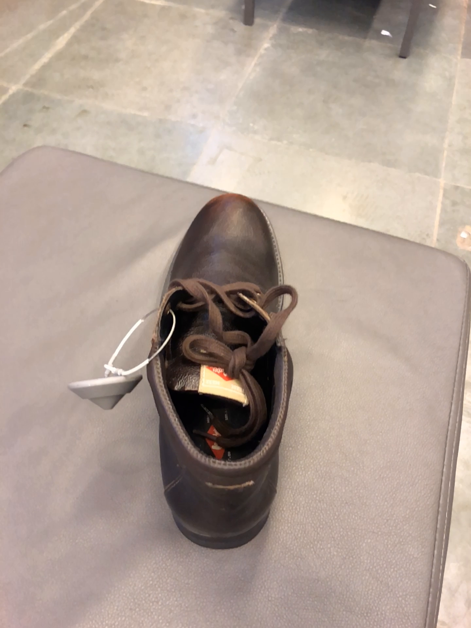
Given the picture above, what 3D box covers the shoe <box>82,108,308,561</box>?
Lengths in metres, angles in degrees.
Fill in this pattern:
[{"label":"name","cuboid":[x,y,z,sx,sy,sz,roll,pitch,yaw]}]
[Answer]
[{"label":"shoe","cuboid":[-0.016,0.011,0.406,0.108,0.177,0.300,2,56,0]}]
